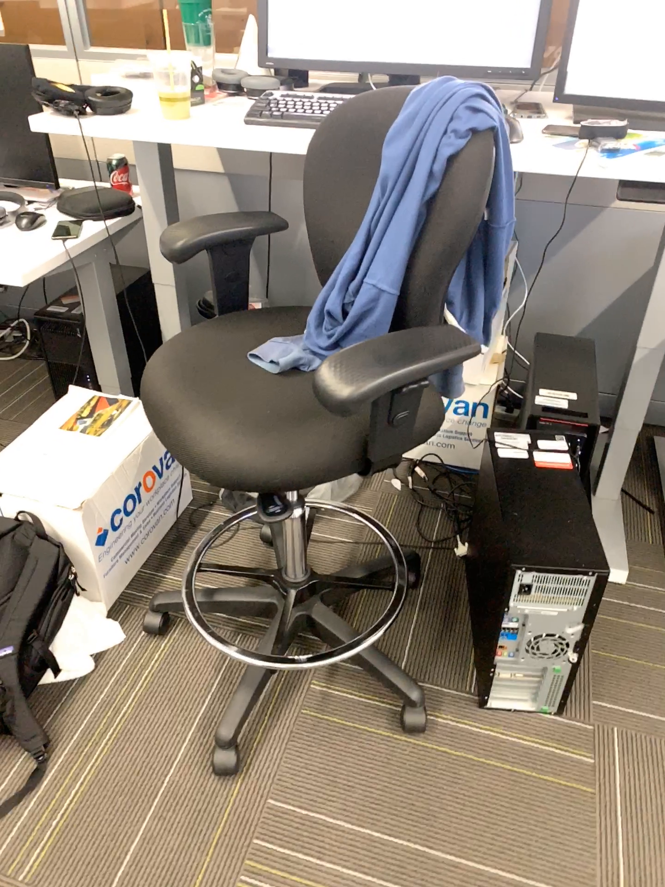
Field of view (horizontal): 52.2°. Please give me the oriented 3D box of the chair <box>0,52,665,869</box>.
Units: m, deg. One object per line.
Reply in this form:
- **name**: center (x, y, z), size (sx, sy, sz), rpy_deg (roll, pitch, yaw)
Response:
- **chair**: center (-0.073, -0.032, 1.263), size (0.741, 1.103, 0.754), rpy_deg (-26, 43, -31)
